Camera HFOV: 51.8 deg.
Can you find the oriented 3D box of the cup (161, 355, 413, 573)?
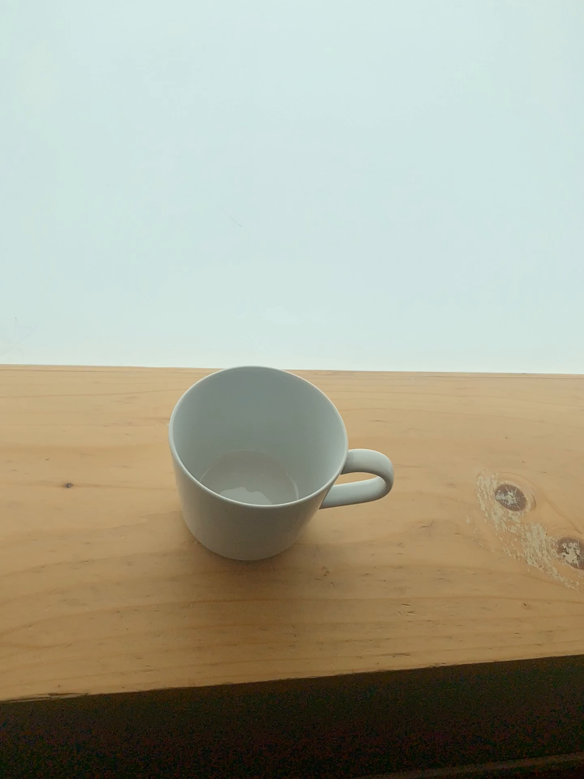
[{"bbox_3d":[-0.006,0.047,0.366,0.130,0.080,0.090,7,49,-5],"label":"cup"}]
